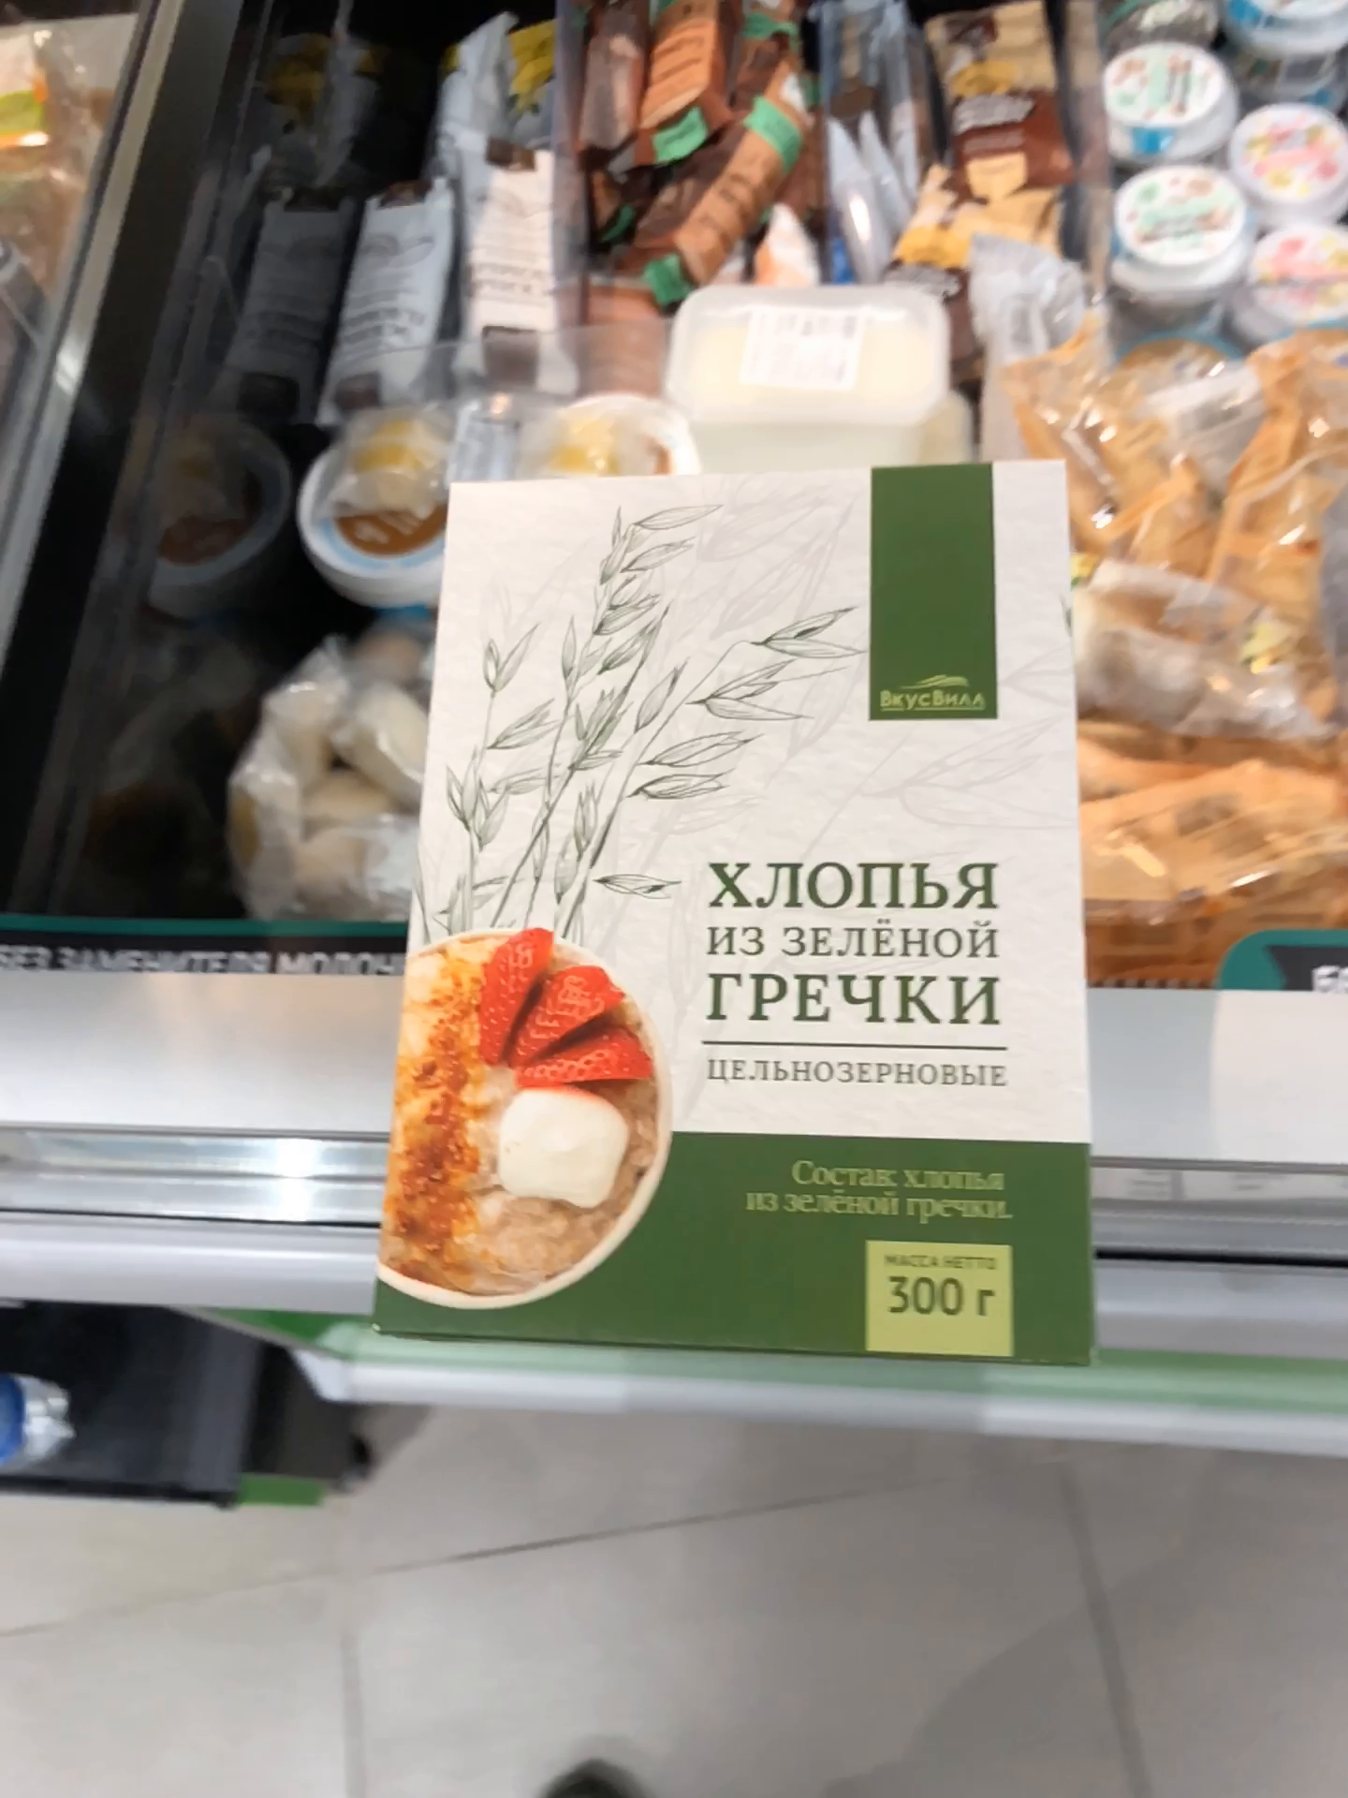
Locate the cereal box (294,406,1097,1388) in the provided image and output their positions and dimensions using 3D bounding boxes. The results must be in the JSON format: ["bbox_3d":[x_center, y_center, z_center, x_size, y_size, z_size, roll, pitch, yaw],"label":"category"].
[{"bbox_3d":[0.007,-0.002,0.328,0.150,0.050,0.200,0,75,7],"label":"cereal box"}]
